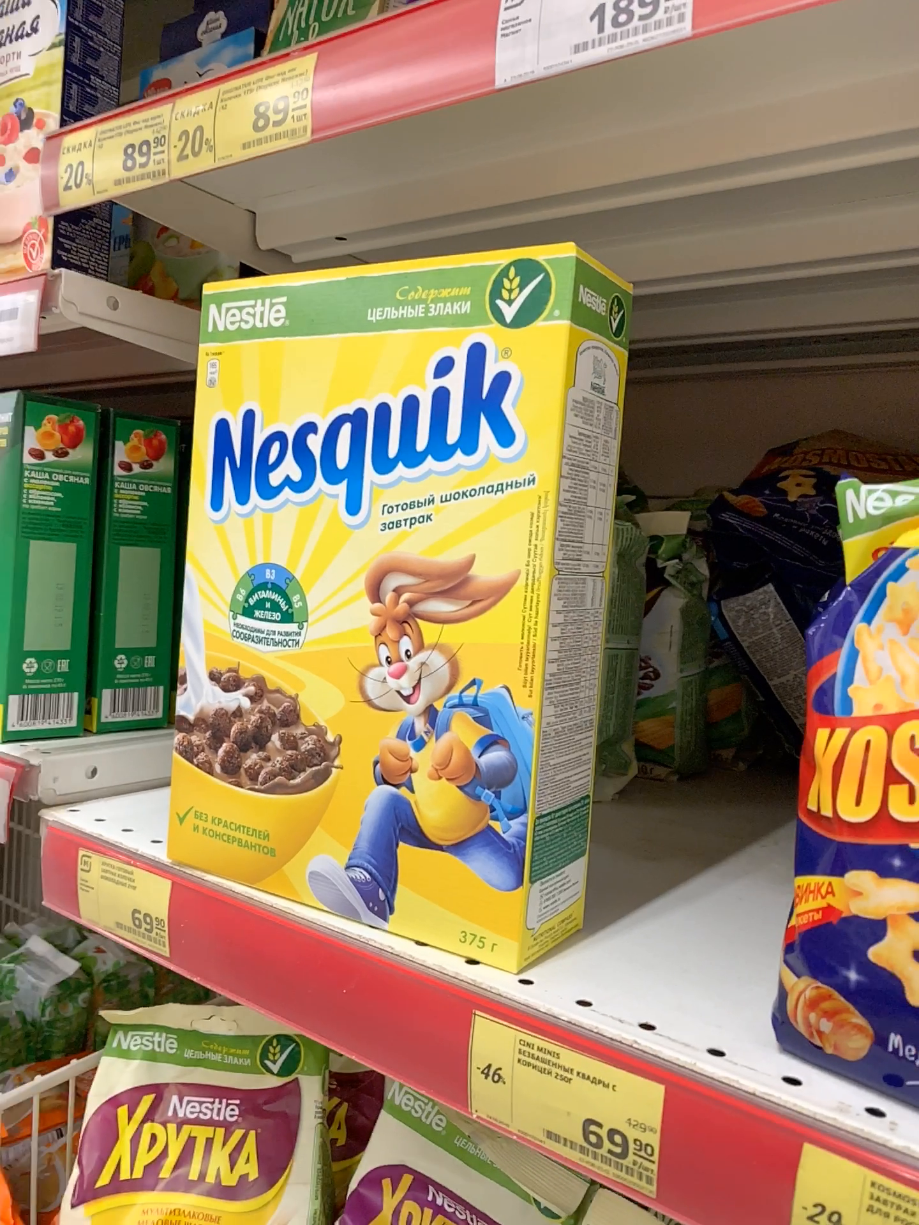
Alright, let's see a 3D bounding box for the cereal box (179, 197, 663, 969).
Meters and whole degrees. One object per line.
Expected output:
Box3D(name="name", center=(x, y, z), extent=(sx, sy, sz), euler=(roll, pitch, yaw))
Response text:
Box3D(name="cereal box", center=(-0.024, -0.017, 0.405), extent=(0.190, 0.270, 0.060), euler=(6, 3, 32))
